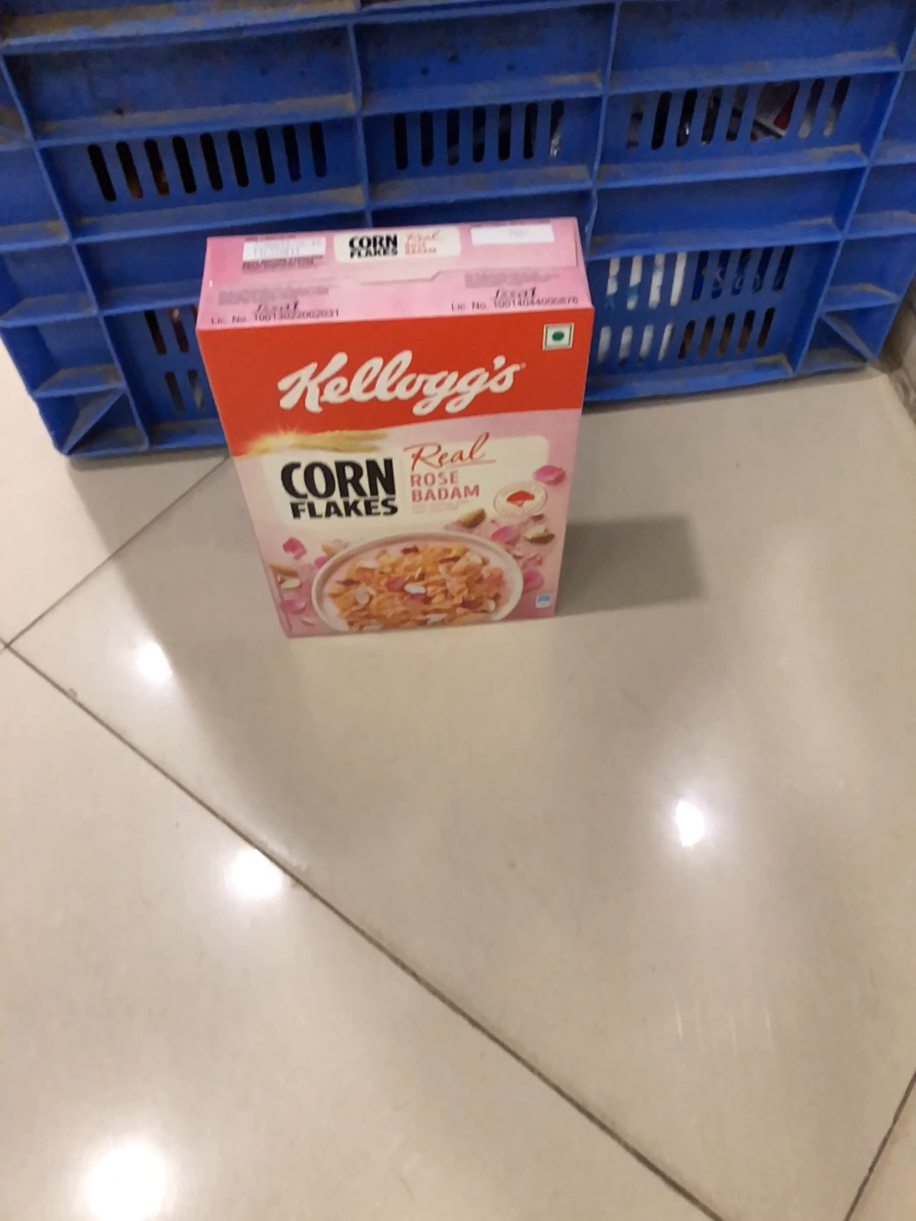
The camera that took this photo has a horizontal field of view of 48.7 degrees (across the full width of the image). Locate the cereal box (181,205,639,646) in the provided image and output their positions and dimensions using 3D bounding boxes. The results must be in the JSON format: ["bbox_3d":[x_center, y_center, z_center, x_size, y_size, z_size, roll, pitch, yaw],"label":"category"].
[{"bbox_3d":[-0.021,-0.086,0.568,0.200,0.259,0.070,-5,57,-2],"label":"cereal box"}]
